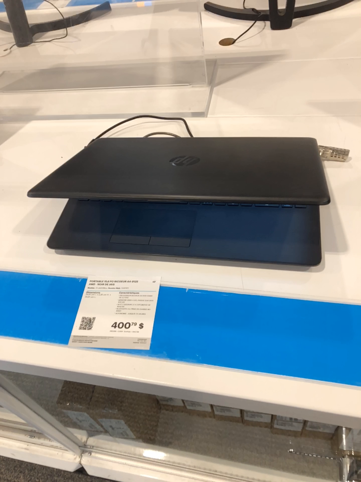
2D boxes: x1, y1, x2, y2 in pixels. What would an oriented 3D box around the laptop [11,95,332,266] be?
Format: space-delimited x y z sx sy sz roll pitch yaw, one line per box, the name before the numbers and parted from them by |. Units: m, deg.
laptop | 0.006 -0.098 0.550 0.366 0.092 0.235 4 51 10
